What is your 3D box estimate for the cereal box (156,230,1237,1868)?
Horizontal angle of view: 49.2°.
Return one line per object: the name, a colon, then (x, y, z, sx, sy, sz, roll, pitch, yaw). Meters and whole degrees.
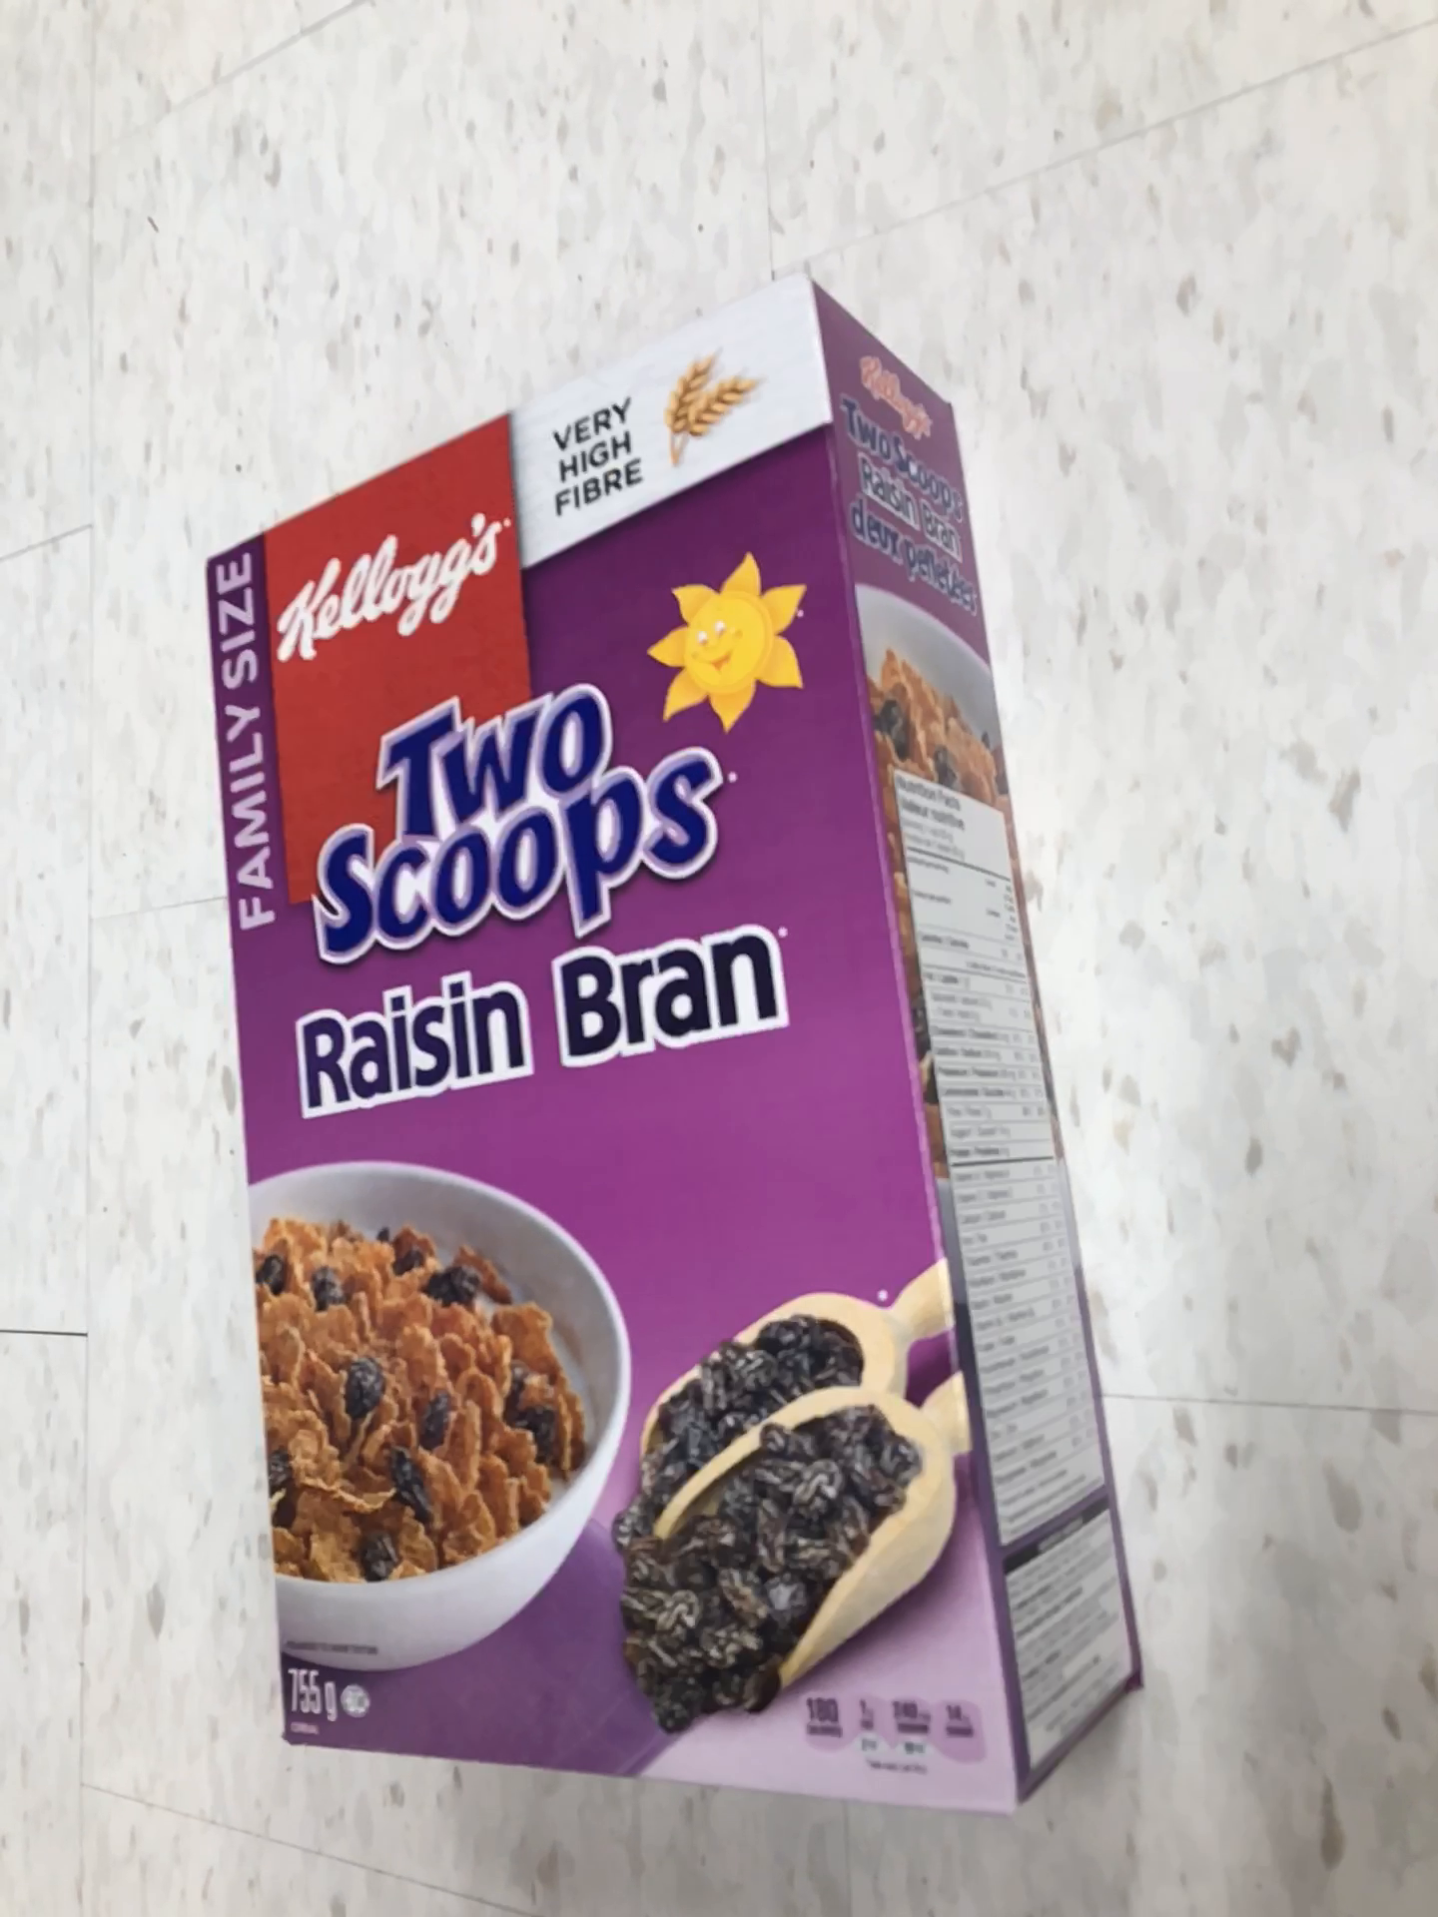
cereal box: (-0.023, 0.027, 0.376, 0.221, 0.080, 0.300, -13, 78, 32)
